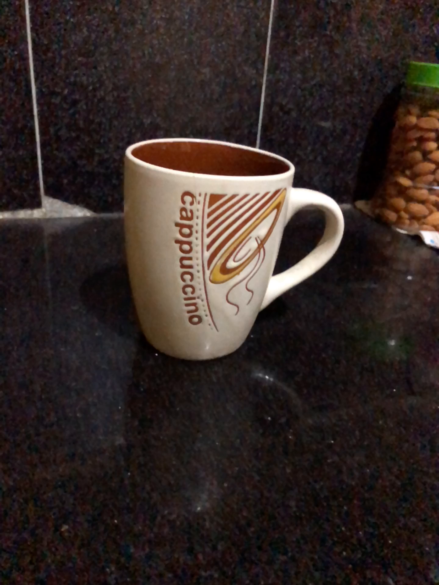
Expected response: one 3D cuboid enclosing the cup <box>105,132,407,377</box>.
[{"bbox_3d":[0.010,-0.028,0.259,0.120,0.089,0.090,-6,29,-23],"label":"cup"}]
